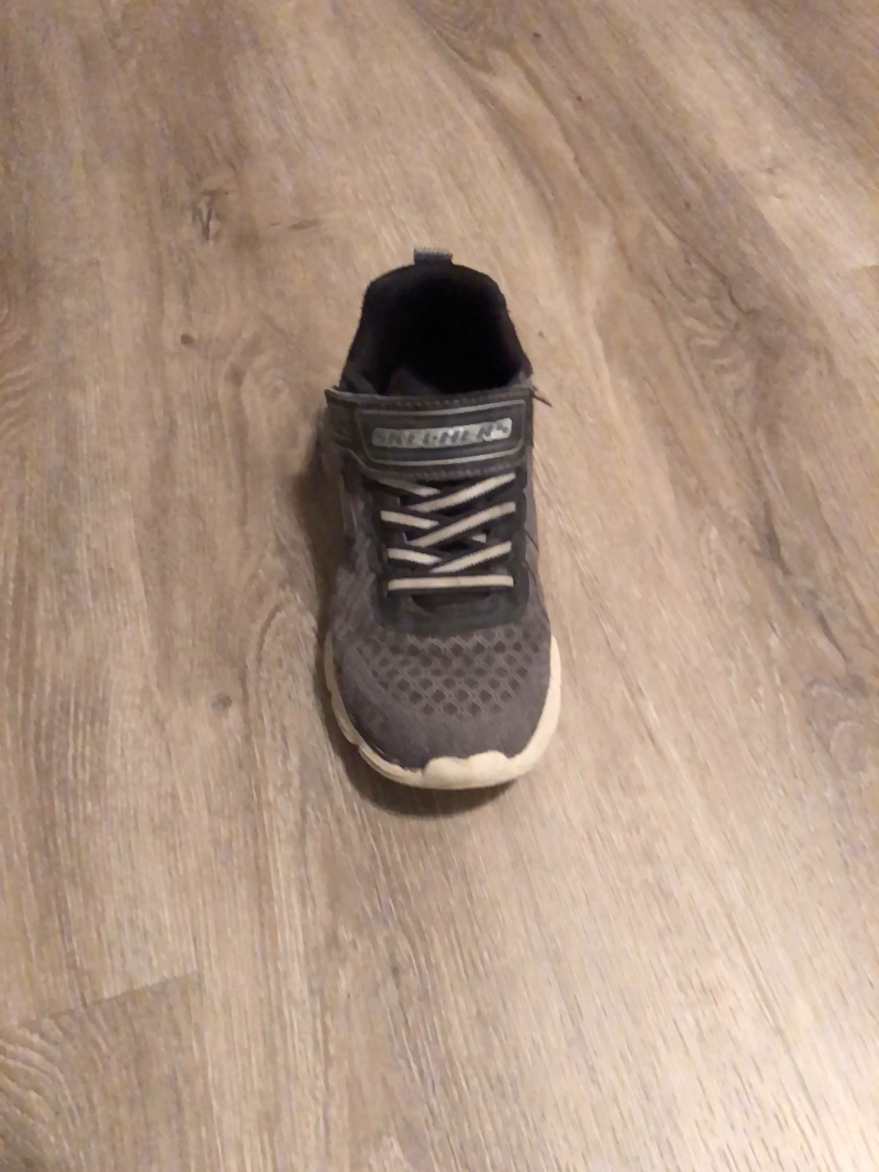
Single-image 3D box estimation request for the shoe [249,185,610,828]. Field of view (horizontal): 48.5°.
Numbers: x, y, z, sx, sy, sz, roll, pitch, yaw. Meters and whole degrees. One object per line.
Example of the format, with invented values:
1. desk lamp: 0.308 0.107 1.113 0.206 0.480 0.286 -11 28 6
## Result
1. shoe: -0.005 -0.038 0.375 0.100 0.100 0.231 -2 57 0
